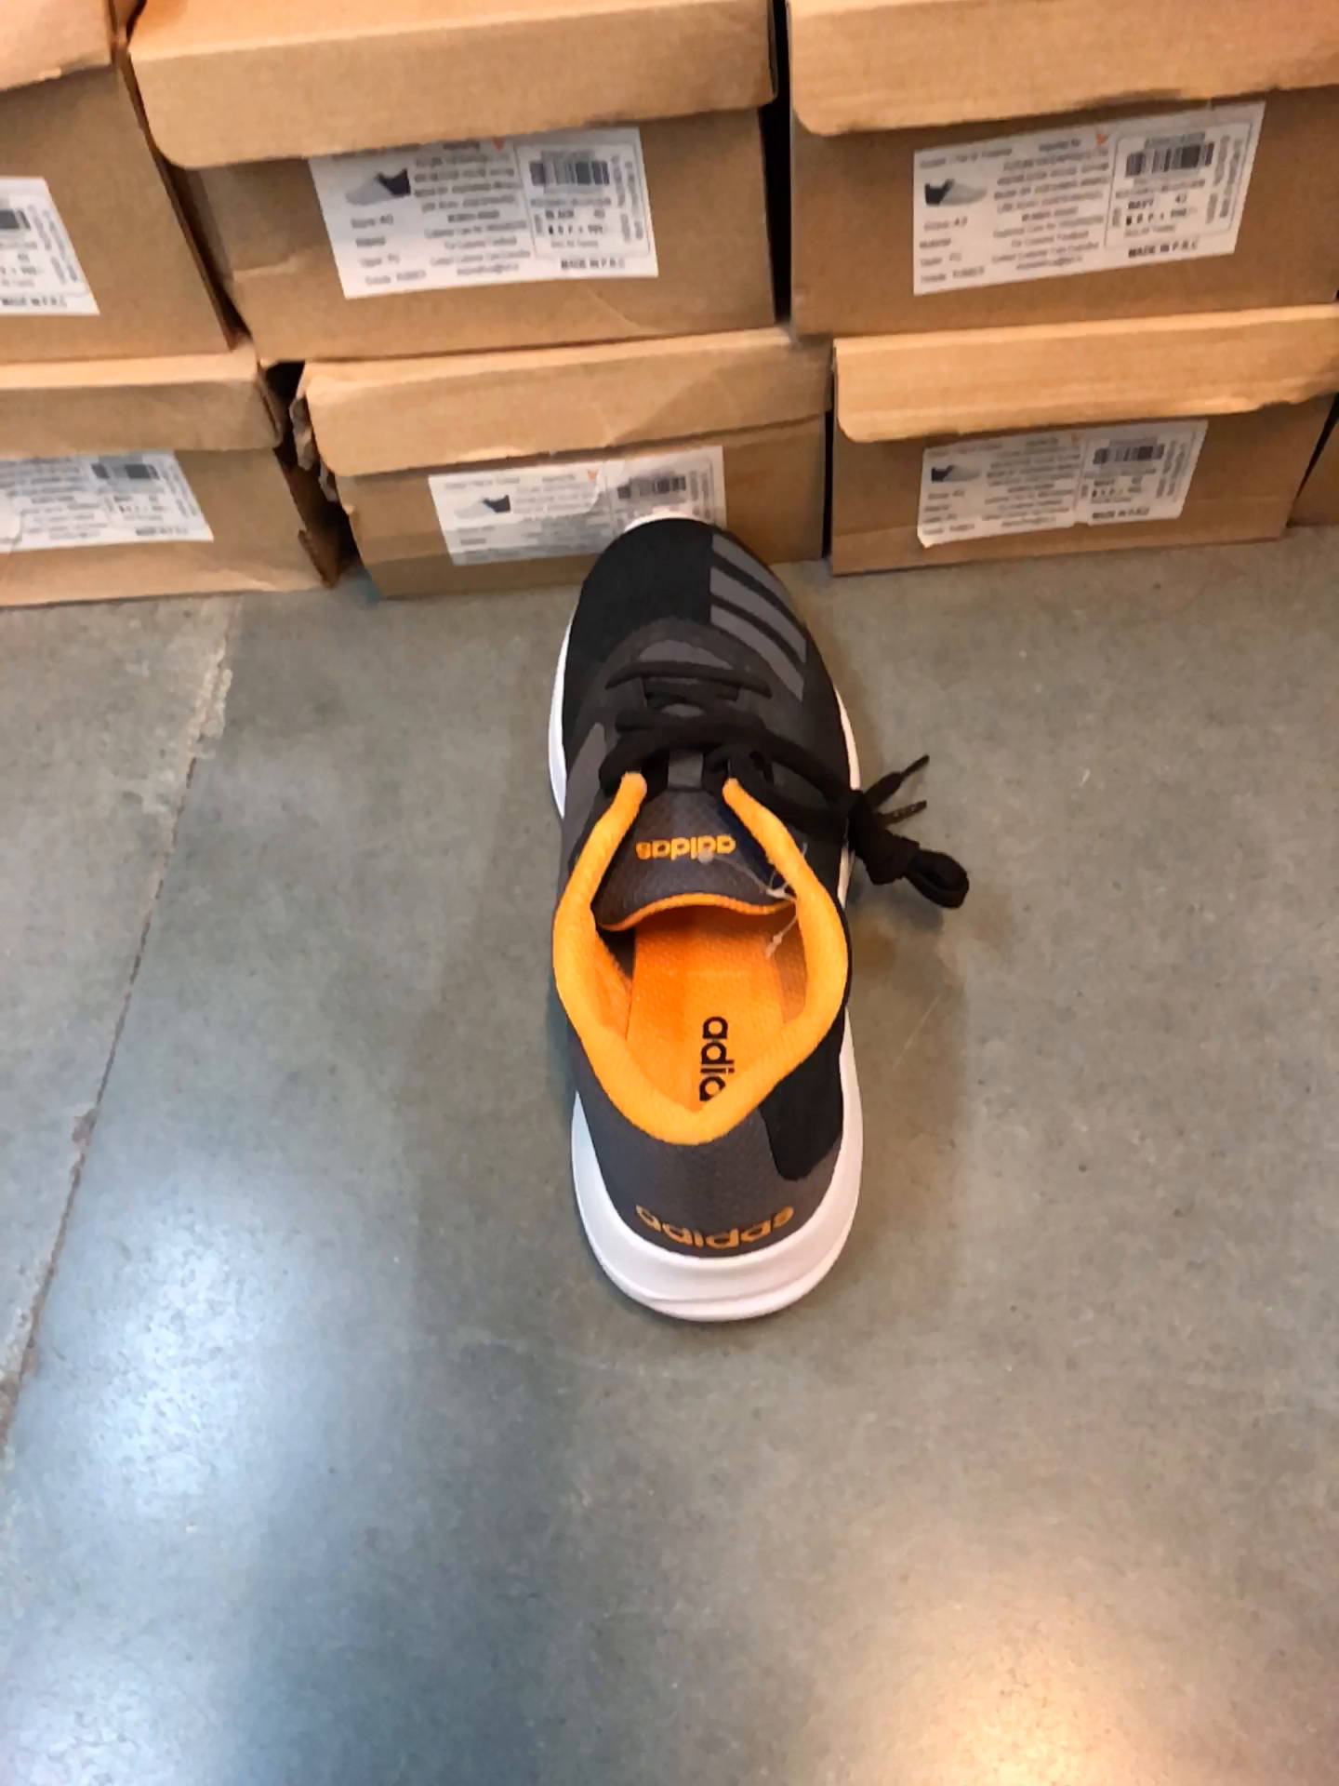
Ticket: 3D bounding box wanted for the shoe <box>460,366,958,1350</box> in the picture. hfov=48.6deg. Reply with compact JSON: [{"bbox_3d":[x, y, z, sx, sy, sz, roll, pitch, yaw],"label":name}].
[{"bbox_3d":[0.010,-0.017,0.446,0.110,0.117,0.272,-3,59,3],"label":"shoe"}]
